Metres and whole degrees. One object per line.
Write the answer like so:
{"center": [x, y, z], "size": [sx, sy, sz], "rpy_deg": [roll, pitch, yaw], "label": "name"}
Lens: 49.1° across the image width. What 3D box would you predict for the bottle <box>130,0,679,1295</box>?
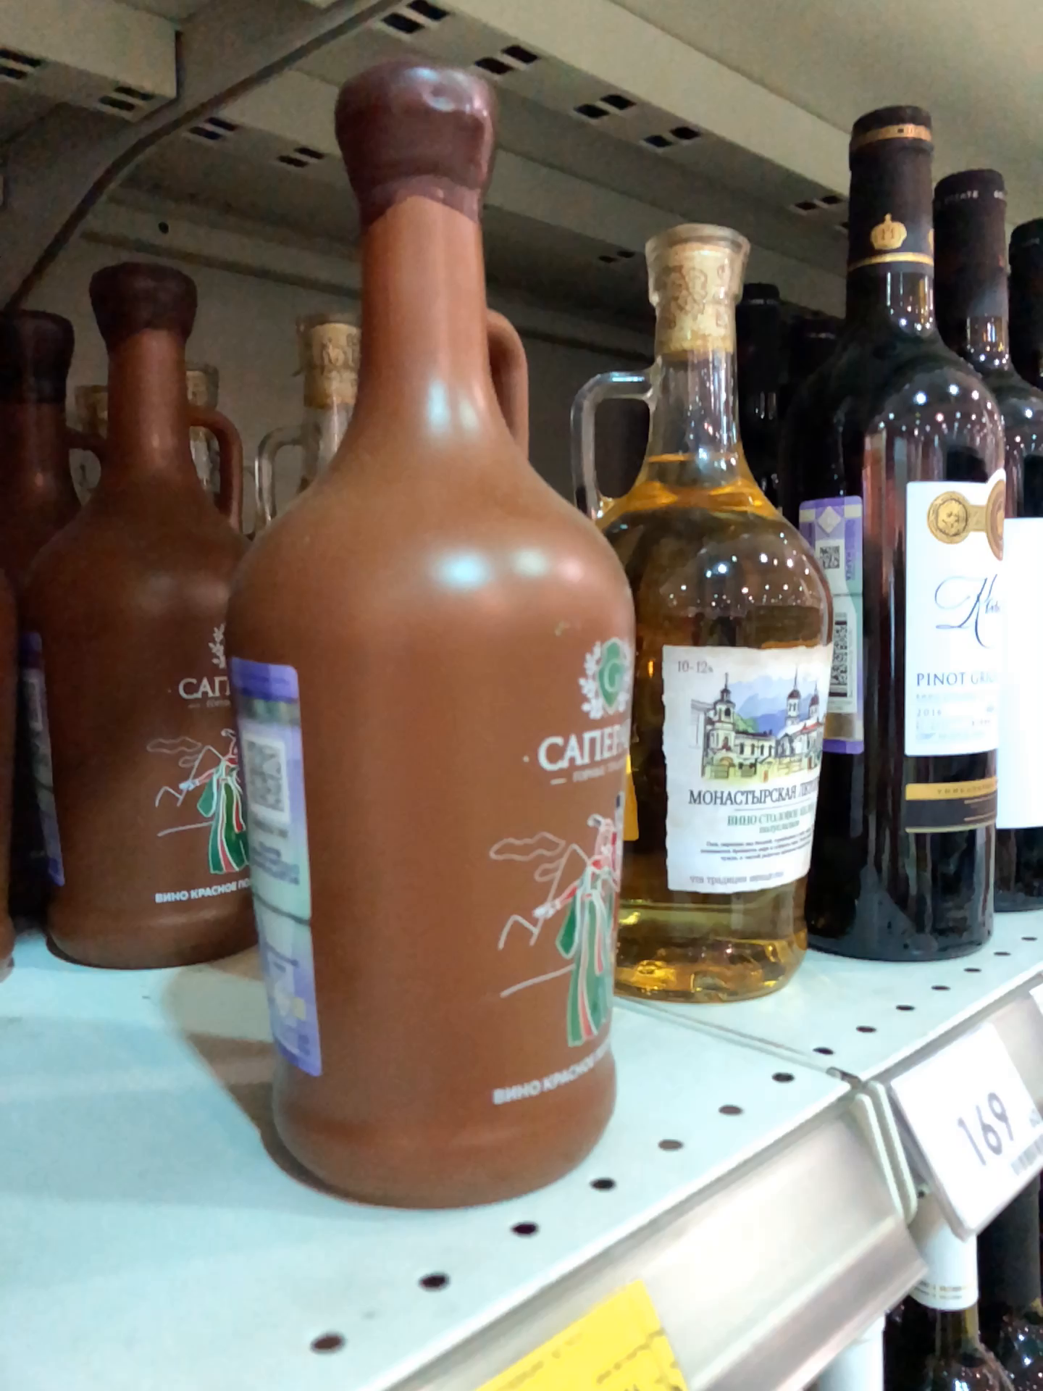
{"center": [-0.023, -0.014, 0.274], "size": [0.090, 0.250, 0.090], "rpy_deg": [-1, 3, 0], "label": "bottle"}
